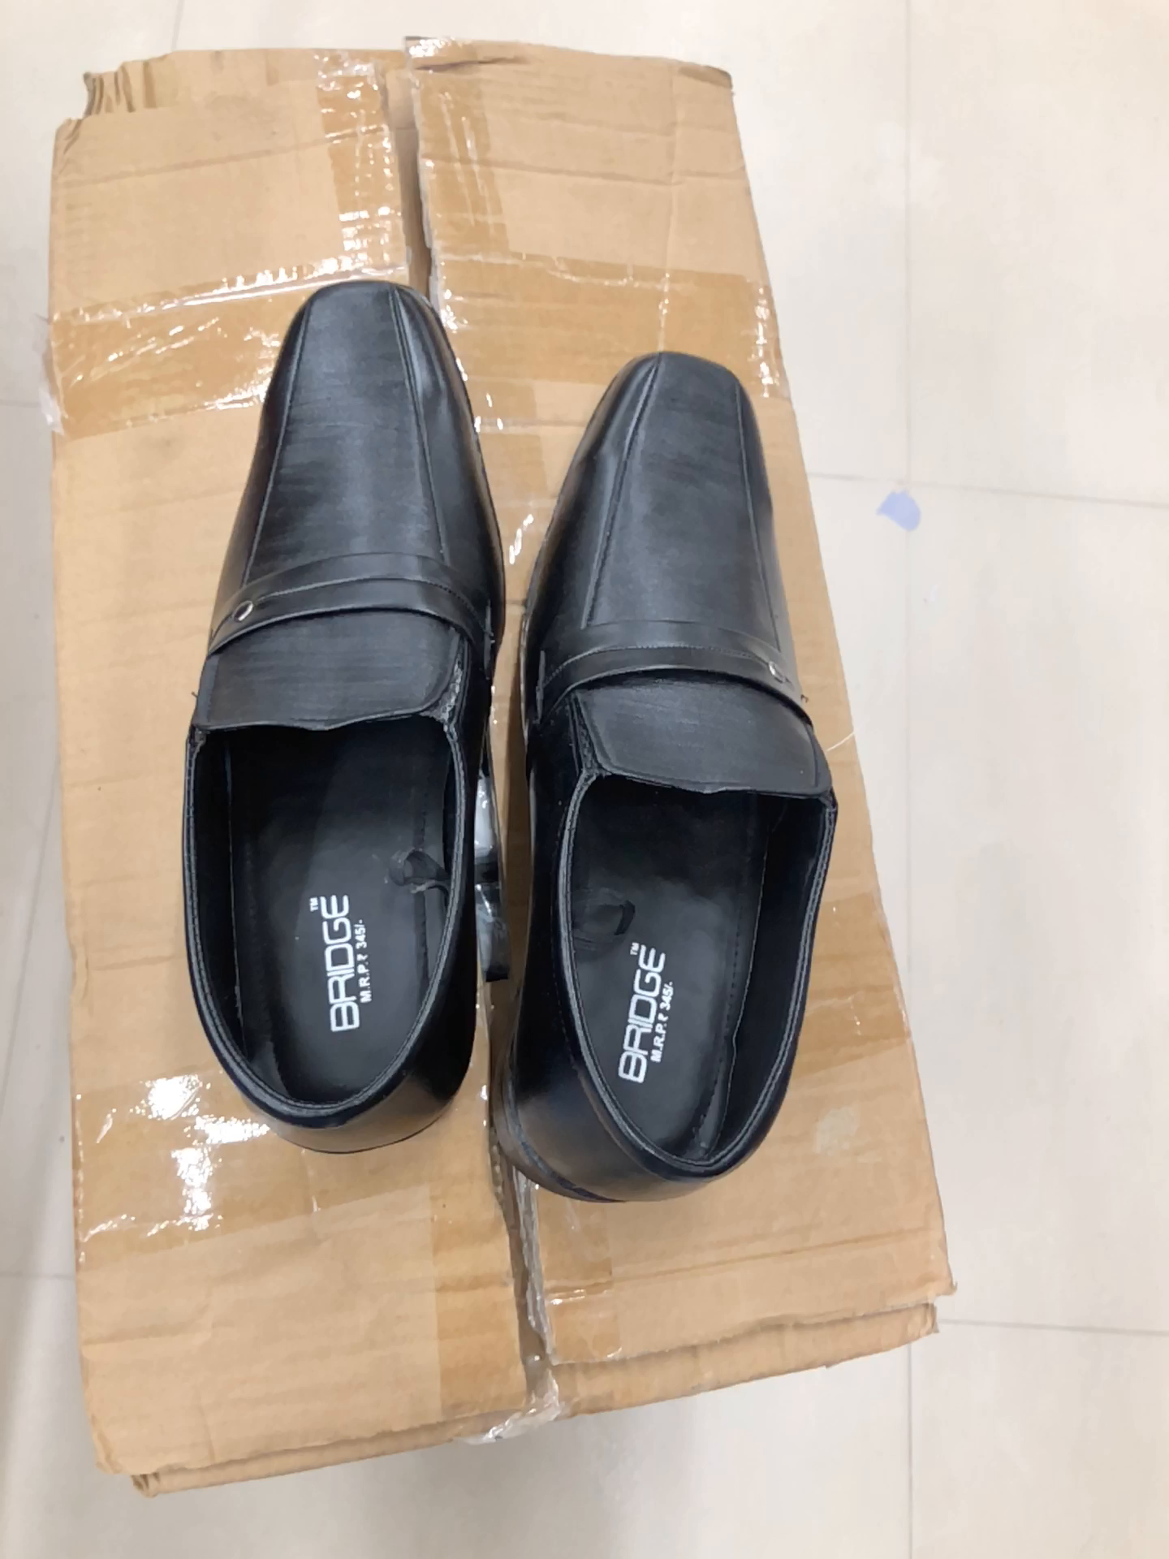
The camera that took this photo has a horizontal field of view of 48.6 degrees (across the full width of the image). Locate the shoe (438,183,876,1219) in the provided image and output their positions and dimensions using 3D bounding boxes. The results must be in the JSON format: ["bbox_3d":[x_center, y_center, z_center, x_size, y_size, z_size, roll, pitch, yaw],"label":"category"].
[{"bbox_3d":[0.022,-0.019,0.446,0.100,0.130,0.311,7,75,-16],"label":"shoe"}]

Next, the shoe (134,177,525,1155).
[{"bbox_3d":[-0.077,-0.031,0.432,0.100,0.130,0.291,-2,76,-5],"label":"shoe"}]
